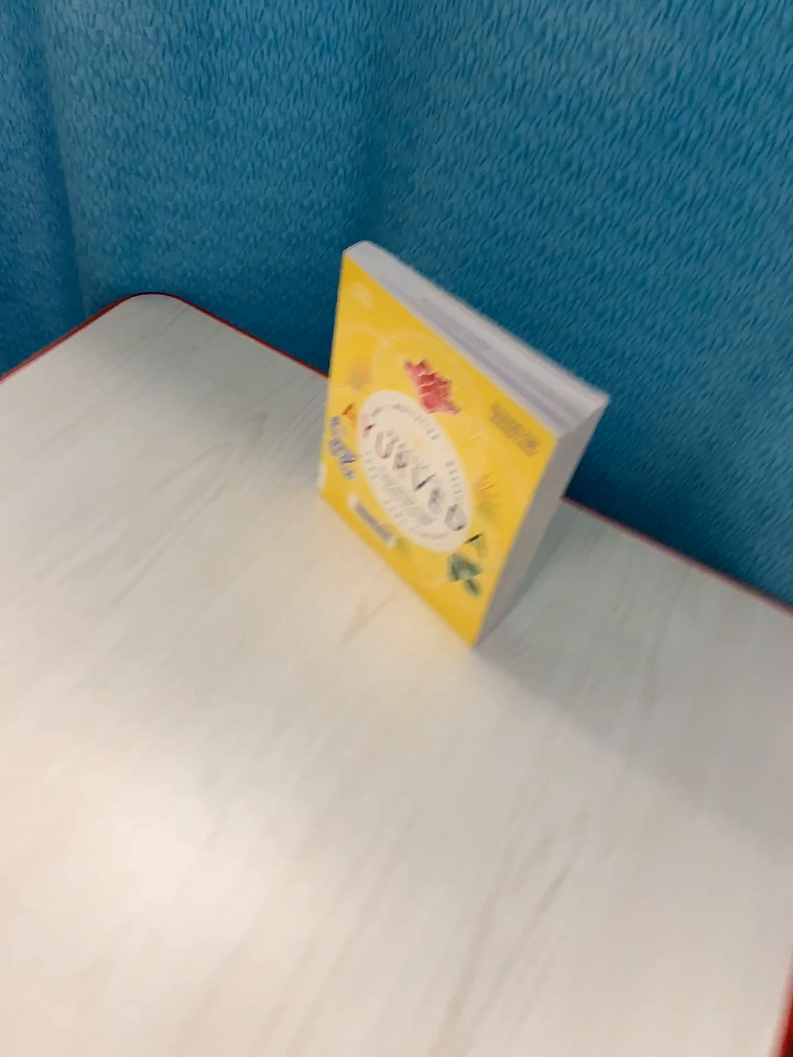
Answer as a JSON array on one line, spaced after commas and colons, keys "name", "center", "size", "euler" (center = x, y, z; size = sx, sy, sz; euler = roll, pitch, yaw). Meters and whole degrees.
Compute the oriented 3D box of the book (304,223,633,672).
[{"name": "book", "center": [0.027, -0.047, 0.594], "size": [0.050, 0.259, 0.210], "euler": [-31, 63, -31]}]
